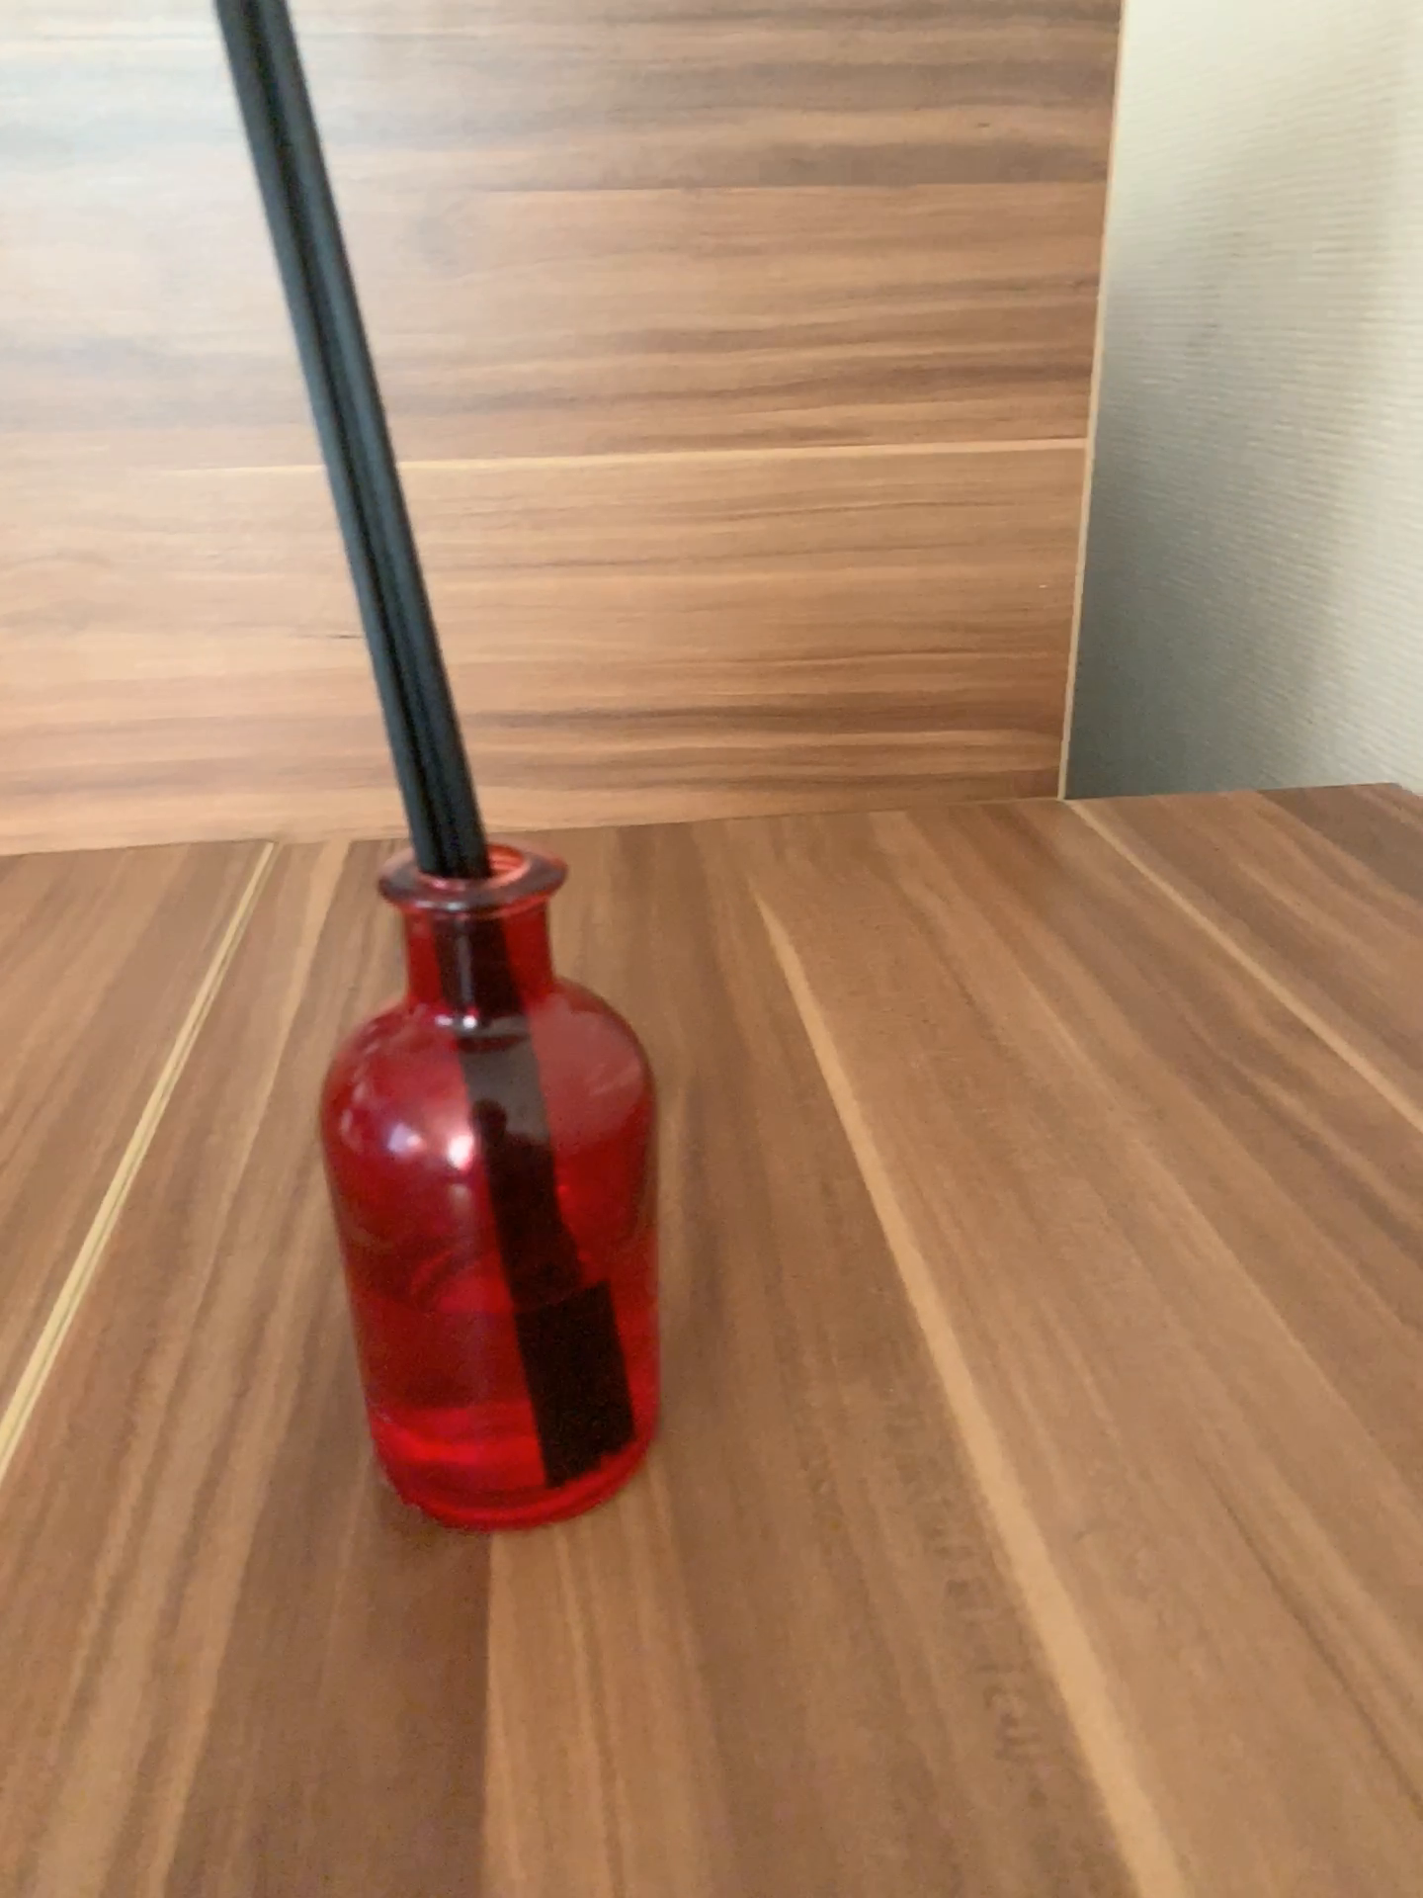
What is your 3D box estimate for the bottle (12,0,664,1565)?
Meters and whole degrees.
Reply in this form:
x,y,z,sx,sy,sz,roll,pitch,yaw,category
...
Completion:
x,y,z,sx,sy,sz,roll,pitch,yaw,category
-0.041,-0.016,0.223,0.060,0.239,0.050,-2,24,-1,bottle
